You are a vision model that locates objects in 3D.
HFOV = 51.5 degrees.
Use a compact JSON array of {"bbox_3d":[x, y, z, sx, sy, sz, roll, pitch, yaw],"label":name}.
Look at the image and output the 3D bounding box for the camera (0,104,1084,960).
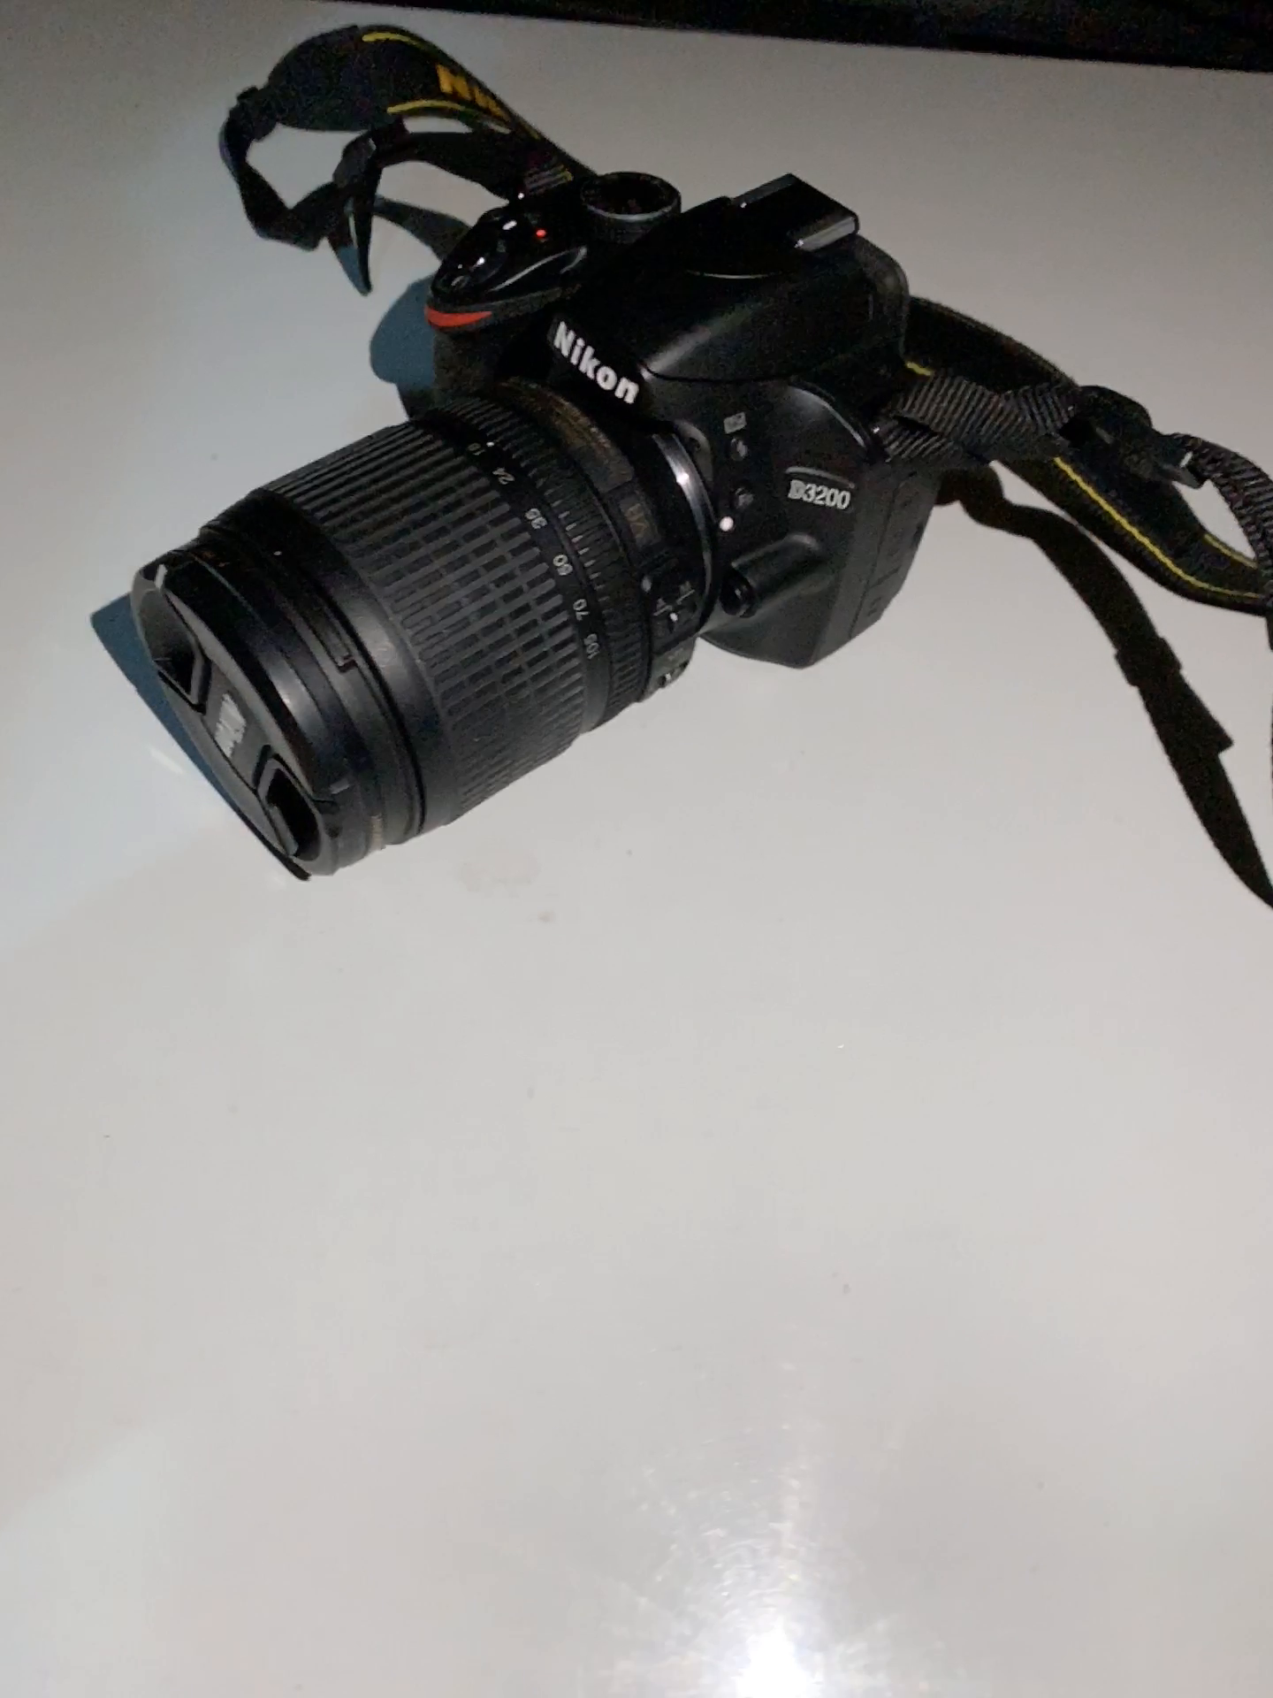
[{"bbox_3d":[-0.022,-0.090,0.310,0.201,0.099,0.127,-27,52,-29],"label":"camera"}]
